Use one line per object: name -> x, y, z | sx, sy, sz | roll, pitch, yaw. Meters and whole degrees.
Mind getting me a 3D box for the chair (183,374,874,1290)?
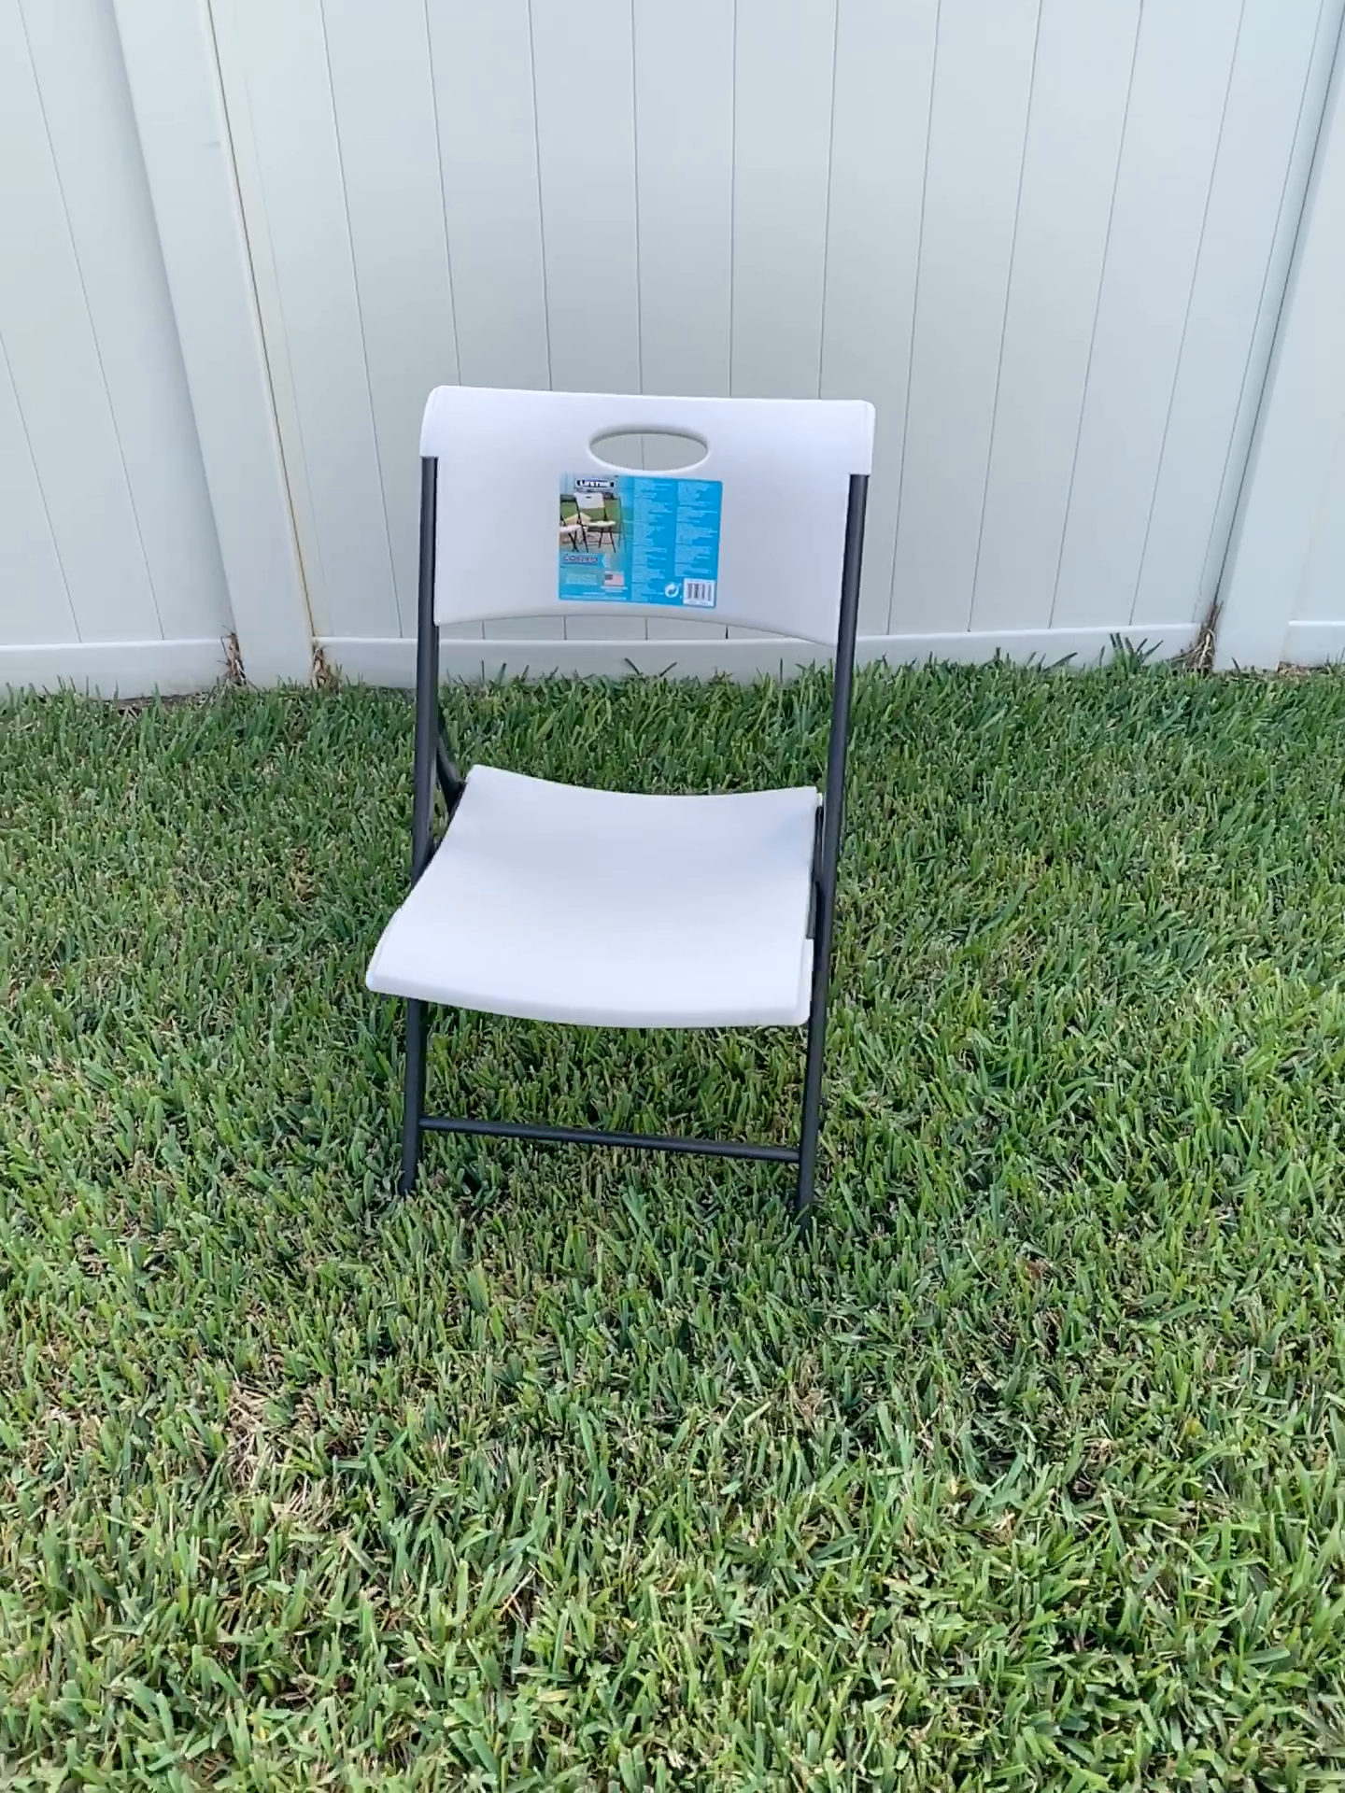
chair -> -0.081, -0.082, 1.431 | 0.518, 0.766, 0.520 | 4, 33, 6
